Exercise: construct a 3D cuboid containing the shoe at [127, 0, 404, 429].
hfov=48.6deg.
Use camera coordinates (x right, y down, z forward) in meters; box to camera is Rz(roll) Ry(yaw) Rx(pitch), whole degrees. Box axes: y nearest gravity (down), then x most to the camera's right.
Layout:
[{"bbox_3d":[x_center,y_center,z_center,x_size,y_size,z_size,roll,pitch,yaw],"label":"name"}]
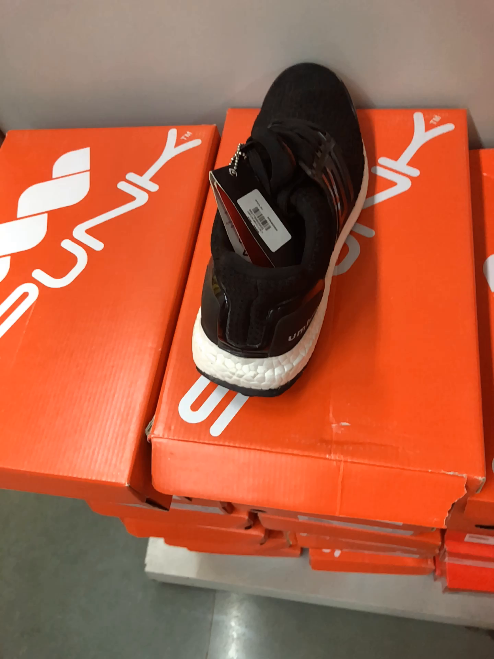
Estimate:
[{"bbox_3d":[0.031,-0.094,0.404,0.117,0.120,0.290,10,64,11],"label":"shoe"}]
